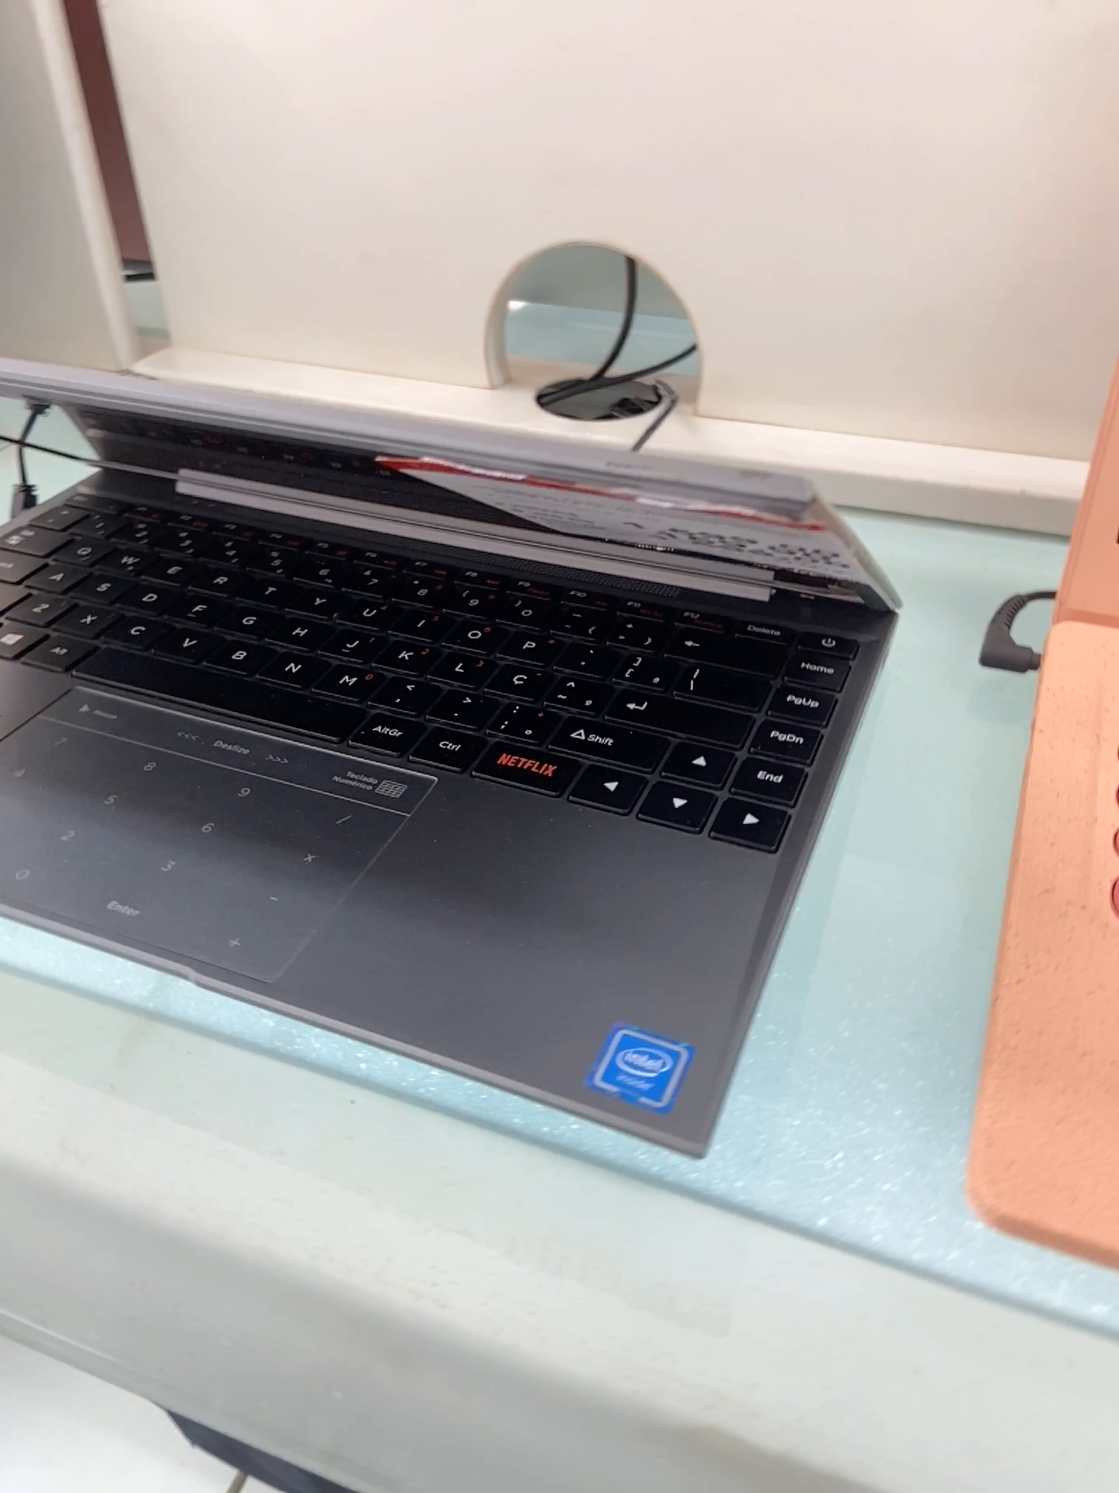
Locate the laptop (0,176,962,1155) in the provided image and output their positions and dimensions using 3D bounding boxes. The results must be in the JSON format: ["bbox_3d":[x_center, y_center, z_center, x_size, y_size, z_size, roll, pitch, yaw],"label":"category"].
[{"bbox_3d":[-0.086,-0.065,0.318,0.333,0.113,0.211,13,39,20],"label":"laptop"}]
